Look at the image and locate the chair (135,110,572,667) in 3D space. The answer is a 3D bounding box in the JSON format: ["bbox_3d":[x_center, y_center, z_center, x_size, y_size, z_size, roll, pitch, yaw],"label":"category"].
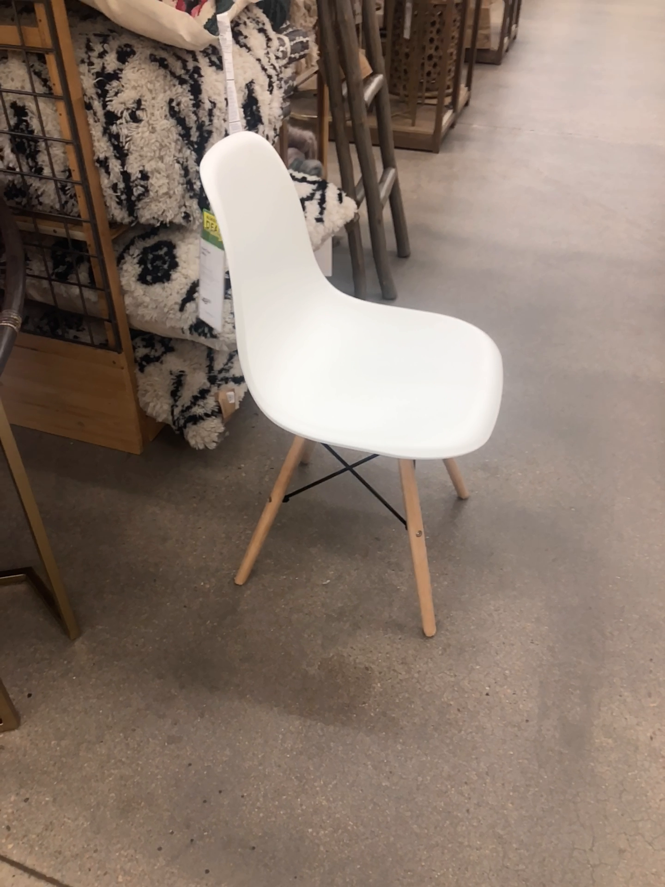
[{"bbox_3d":[0.058,-0.088,1.310,0.530,0.806,0.442,12,40,14],"label":"chair"}]
